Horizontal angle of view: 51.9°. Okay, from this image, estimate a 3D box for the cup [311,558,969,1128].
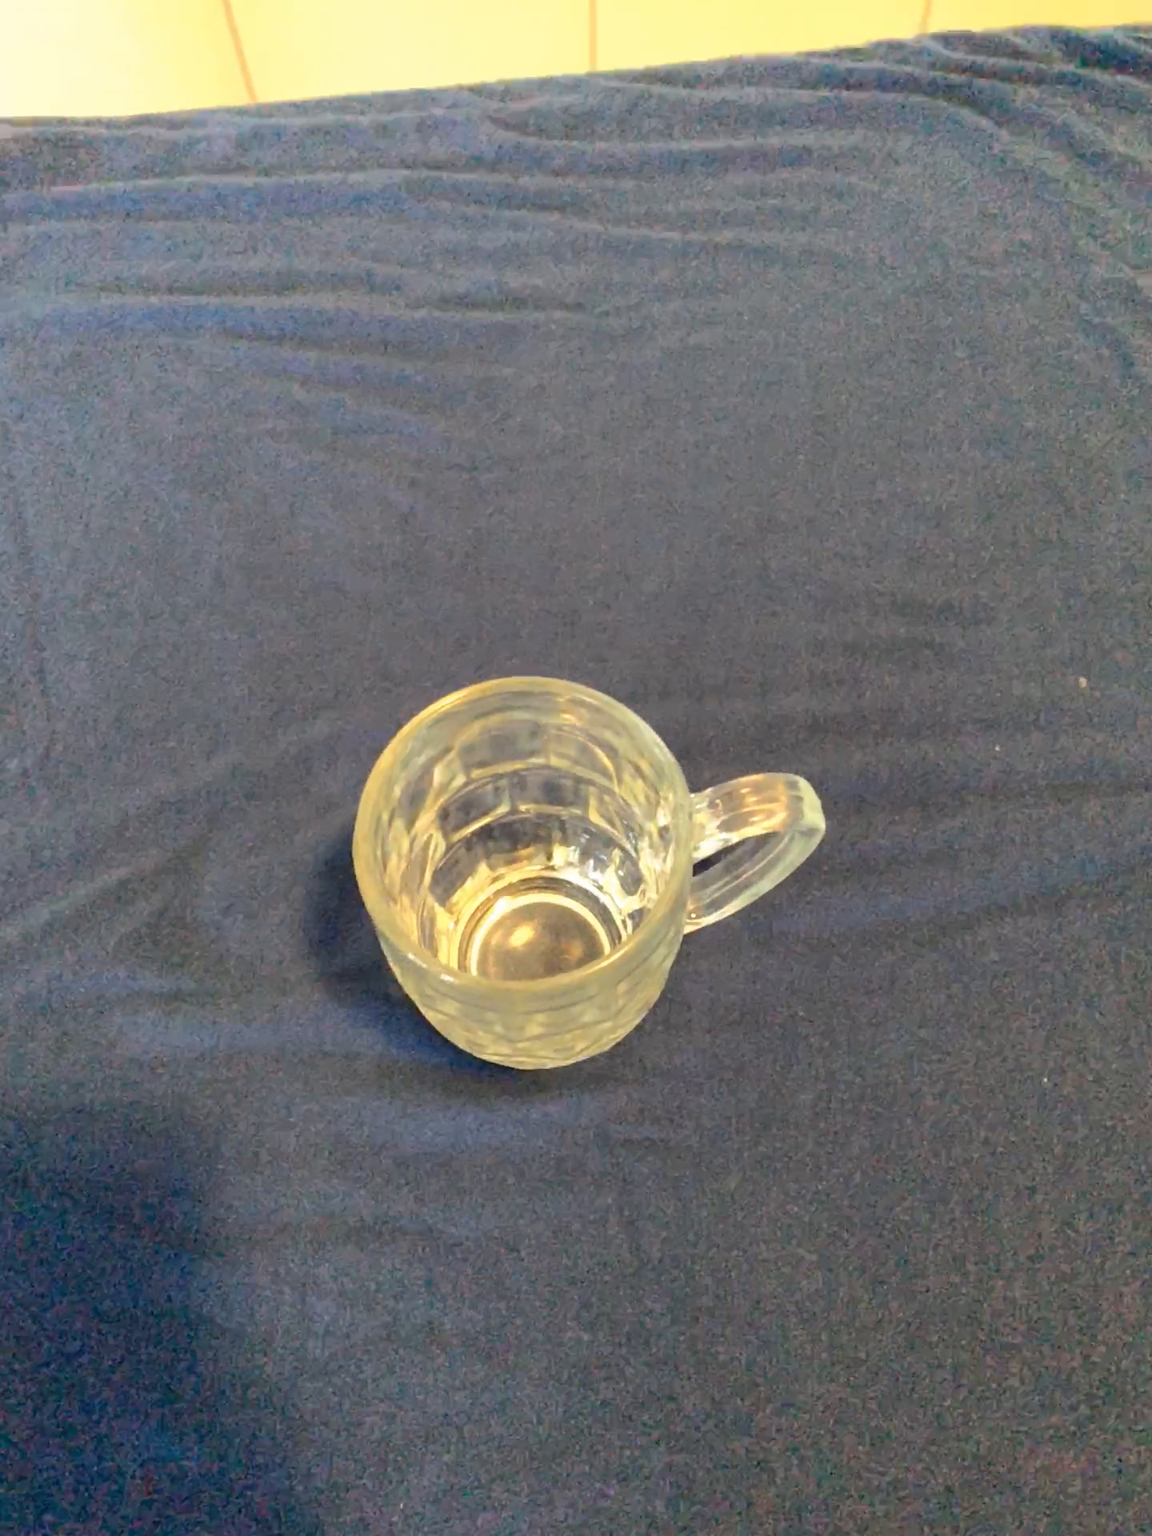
[{"bbox_3d":[0.011,0.025,0.297,0.120,0.110,0.080,-13,64,-6],"label":"cup"}]
